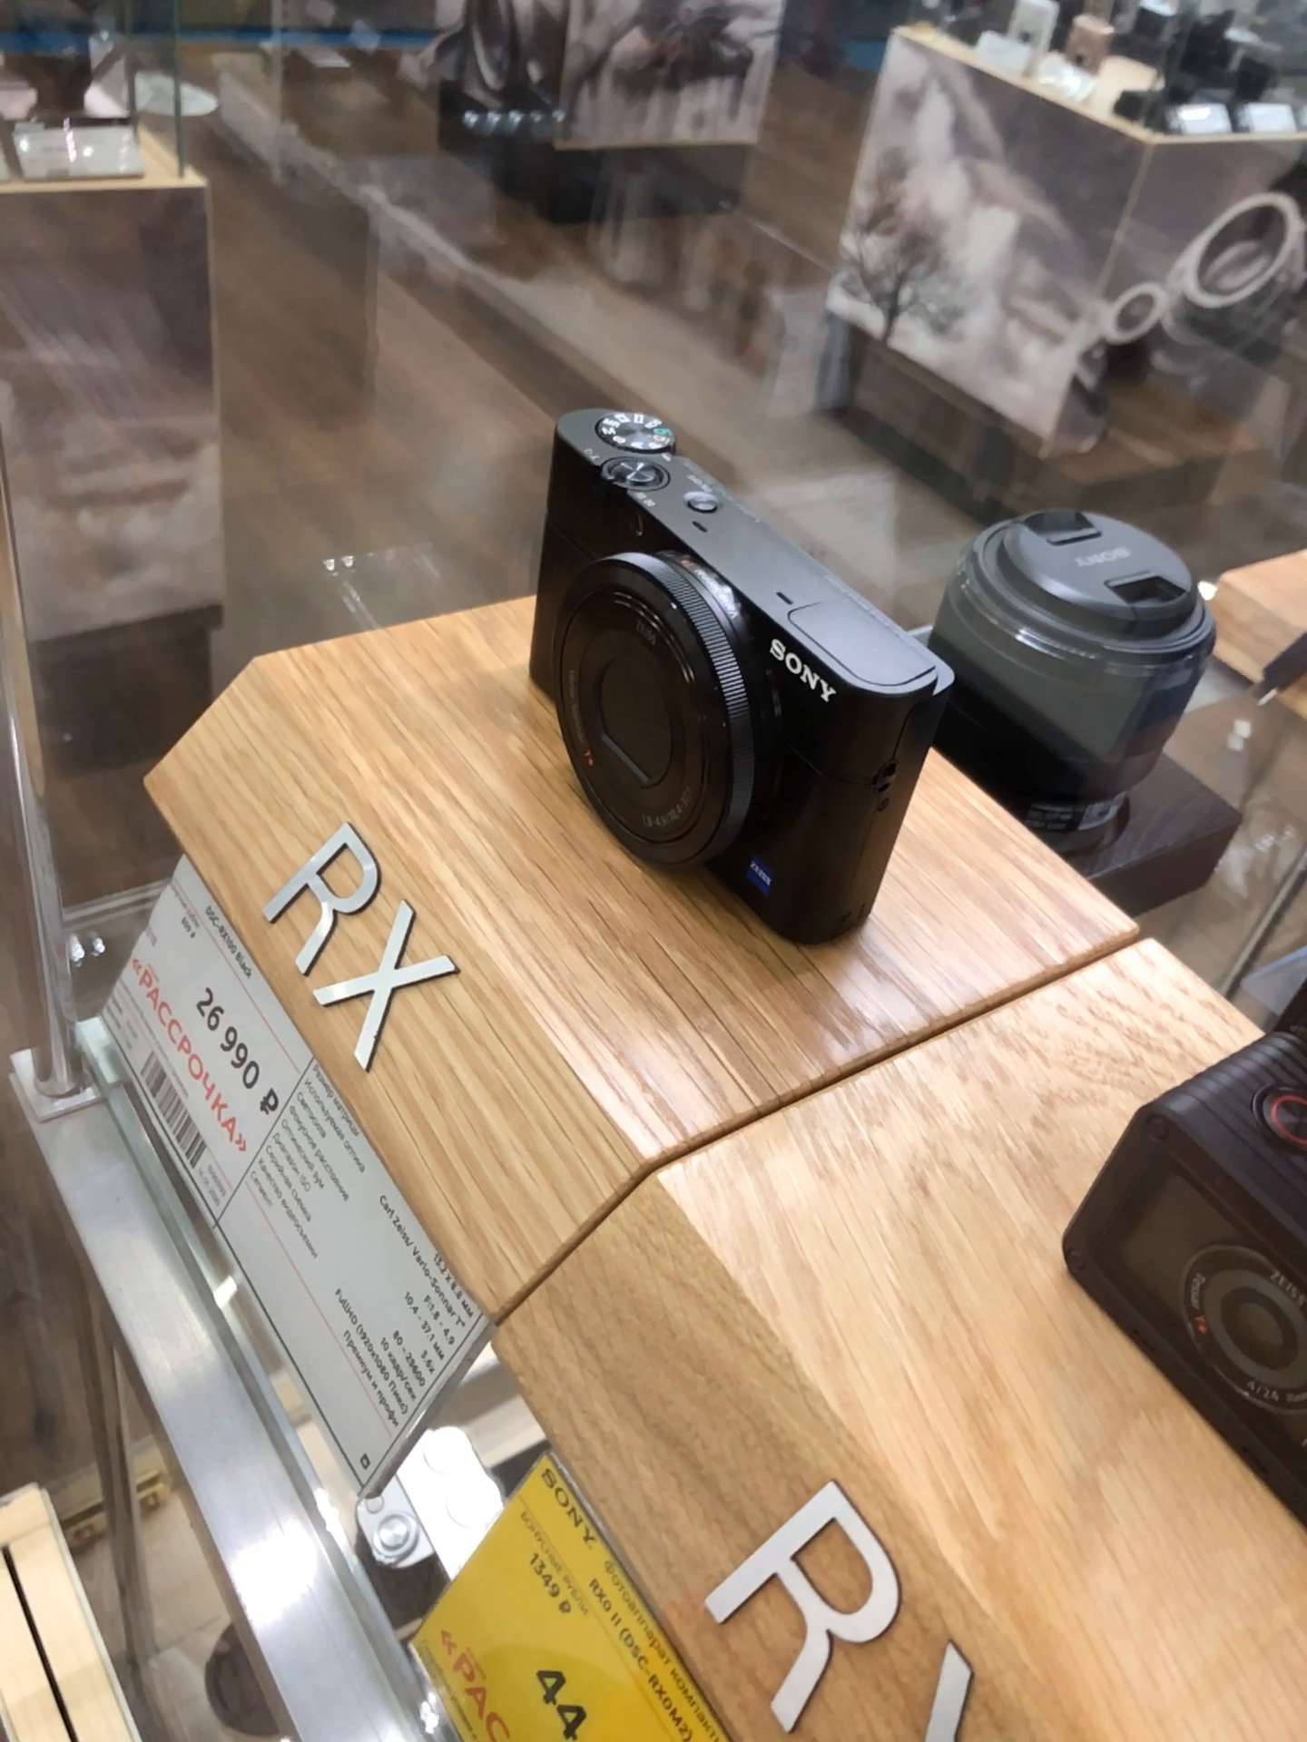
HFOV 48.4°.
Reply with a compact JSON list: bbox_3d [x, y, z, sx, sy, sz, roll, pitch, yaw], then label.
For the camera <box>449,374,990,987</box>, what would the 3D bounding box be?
[{"bbox_3d":[0.005,-0.040,0.276,0.037,0.062,0.106,-19,49,-31],"label":"camera"}]
